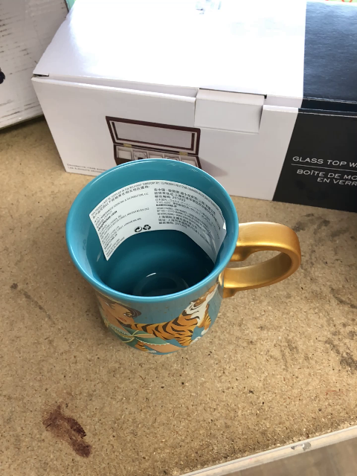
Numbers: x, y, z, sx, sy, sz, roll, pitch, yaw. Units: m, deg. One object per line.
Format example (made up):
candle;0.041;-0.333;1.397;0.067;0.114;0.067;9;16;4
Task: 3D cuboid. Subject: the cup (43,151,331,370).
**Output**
cup;0.005;0.022;0.271;0.140;0.120;0.098;-2;58;1
